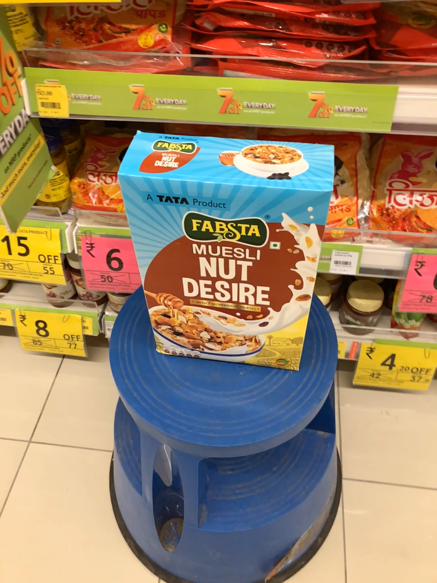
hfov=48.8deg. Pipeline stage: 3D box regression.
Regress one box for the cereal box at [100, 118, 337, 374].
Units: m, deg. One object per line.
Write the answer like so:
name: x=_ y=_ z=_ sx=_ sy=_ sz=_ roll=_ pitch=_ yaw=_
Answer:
cereal box: x=0.006 y=-0.027 z=0.458 sx=0.170 sy=0.249 sz=0.070 roll=5 pitch=50 yaw=6
